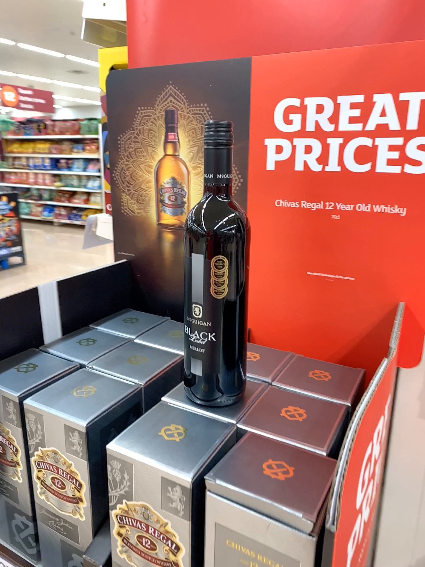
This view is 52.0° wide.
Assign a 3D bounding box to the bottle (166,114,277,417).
[{"bbox_3d":[0.007,-0.019,0.454,0.070,0.288,0.080,15,21,42],"label":"bottle"}]
